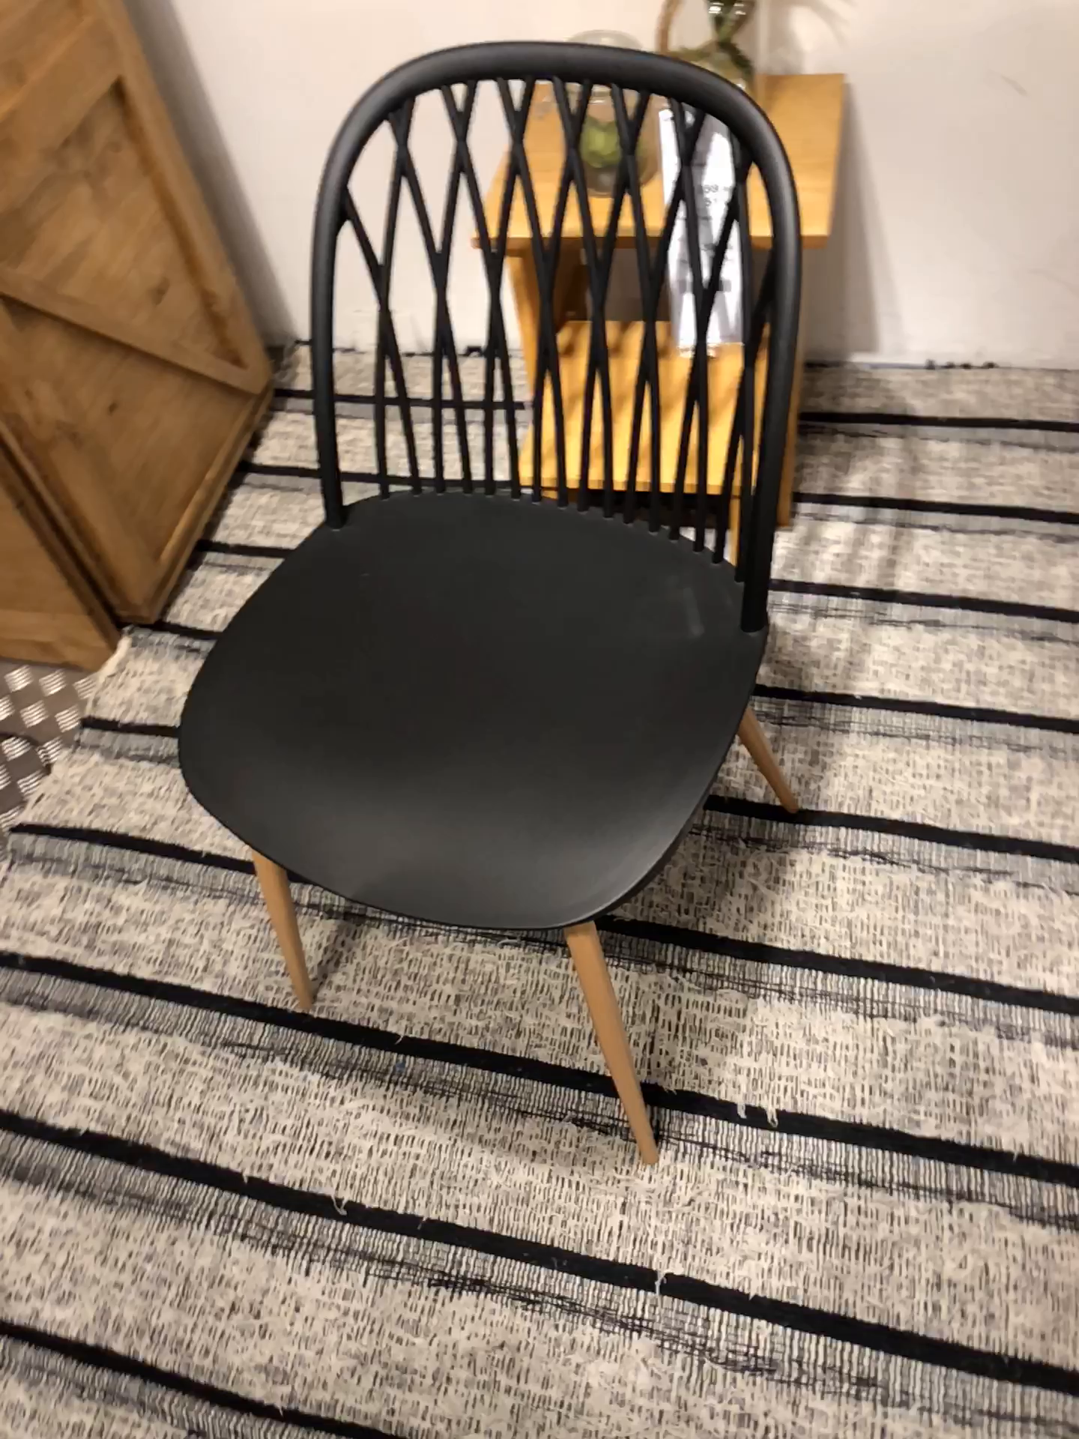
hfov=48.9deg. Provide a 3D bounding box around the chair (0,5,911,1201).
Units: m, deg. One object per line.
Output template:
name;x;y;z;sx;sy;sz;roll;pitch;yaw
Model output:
chair;-0.036;-0.055;1.009;0.471;0.776;0.542;17;58;21
